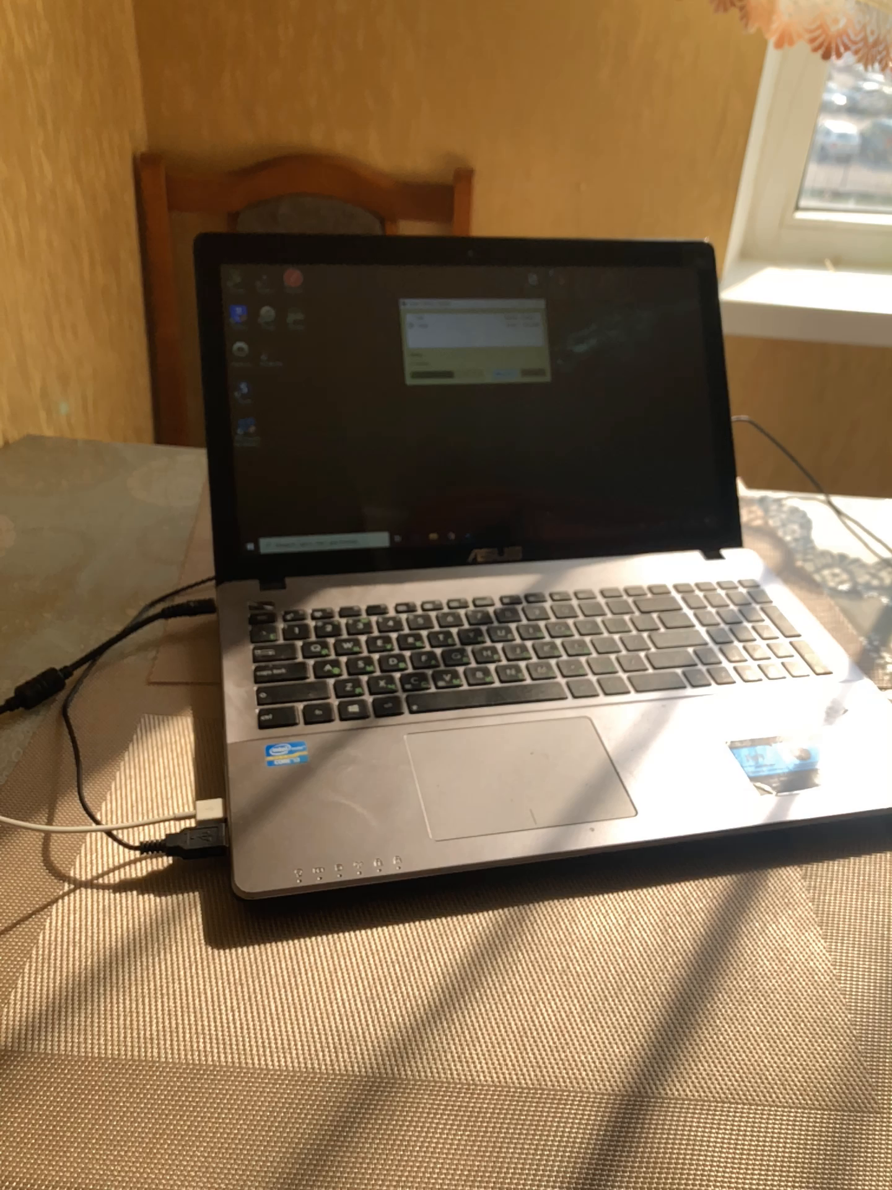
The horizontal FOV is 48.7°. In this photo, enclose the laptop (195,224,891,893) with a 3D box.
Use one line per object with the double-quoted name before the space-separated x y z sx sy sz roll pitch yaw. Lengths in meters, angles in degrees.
"laptop" 0.053 -0.071 0.590 0.378 0.182 0.399 -4 35 -13
